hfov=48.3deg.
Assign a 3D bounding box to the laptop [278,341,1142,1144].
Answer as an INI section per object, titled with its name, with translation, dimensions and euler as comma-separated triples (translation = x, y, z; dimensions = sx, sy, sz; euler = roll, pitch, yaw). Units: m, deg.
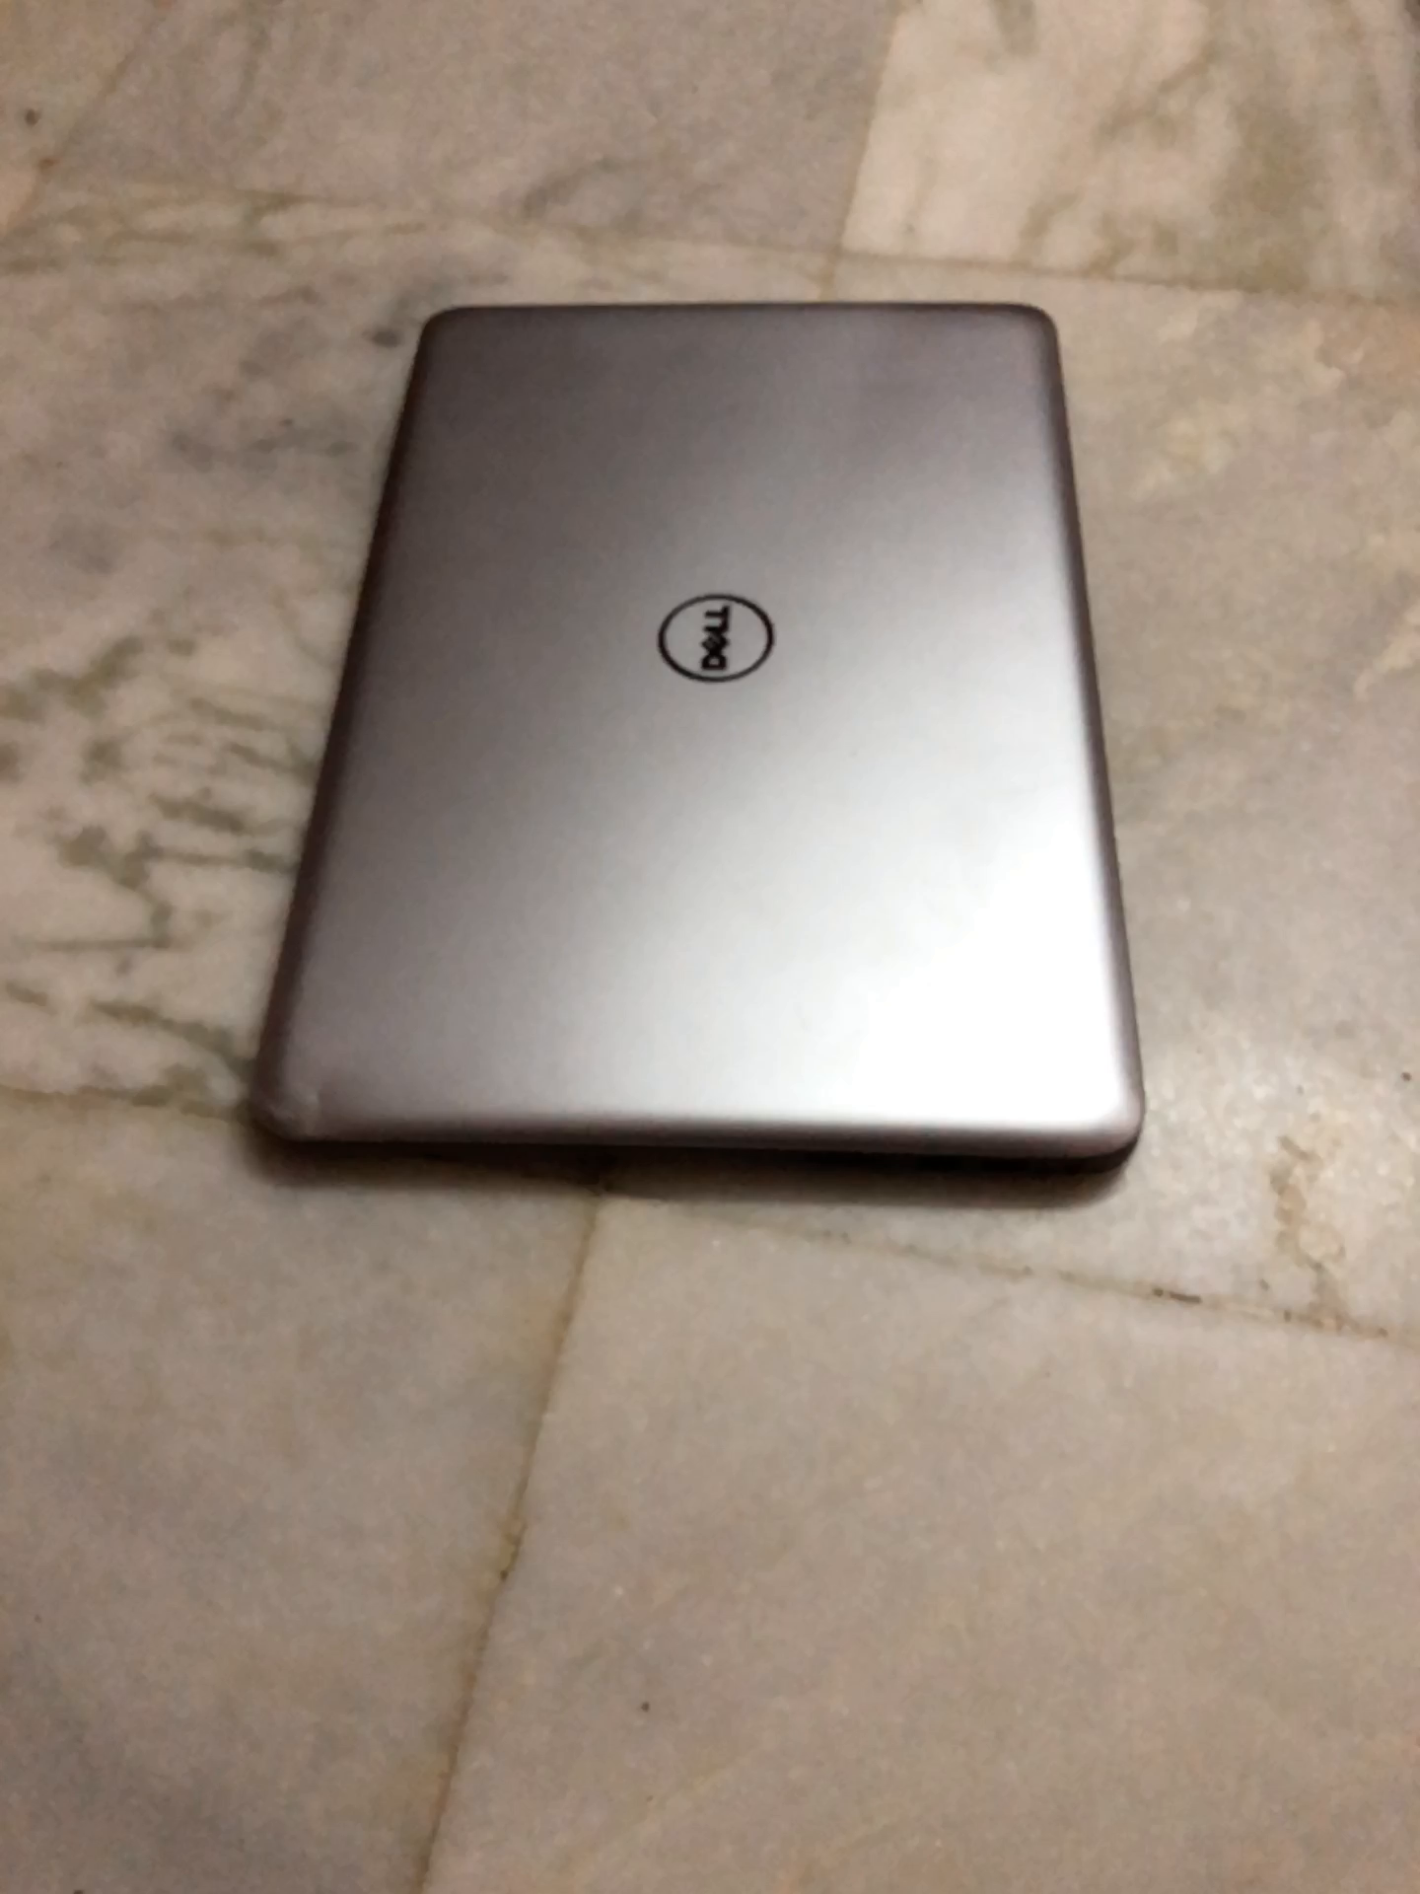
[laptop]
translation = 0.005, -0.093, 0.539
dimensions = 0.244, 0.002, 0.347
euler = 1, 58, 3
